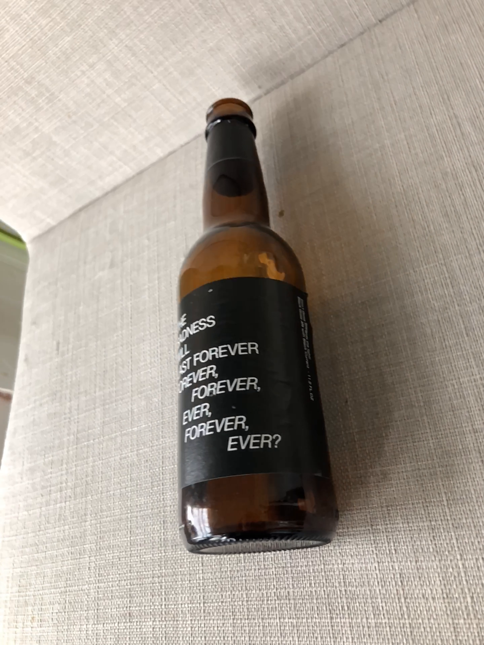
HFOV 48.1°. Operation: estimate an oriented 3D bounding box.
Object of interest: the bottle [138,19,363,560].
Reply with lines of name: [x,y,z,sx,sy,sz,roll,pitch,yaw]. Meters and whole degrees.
bottle: [-0.004,-0.023,0.251,0.060,0.060,0.239,-20,61,29]
